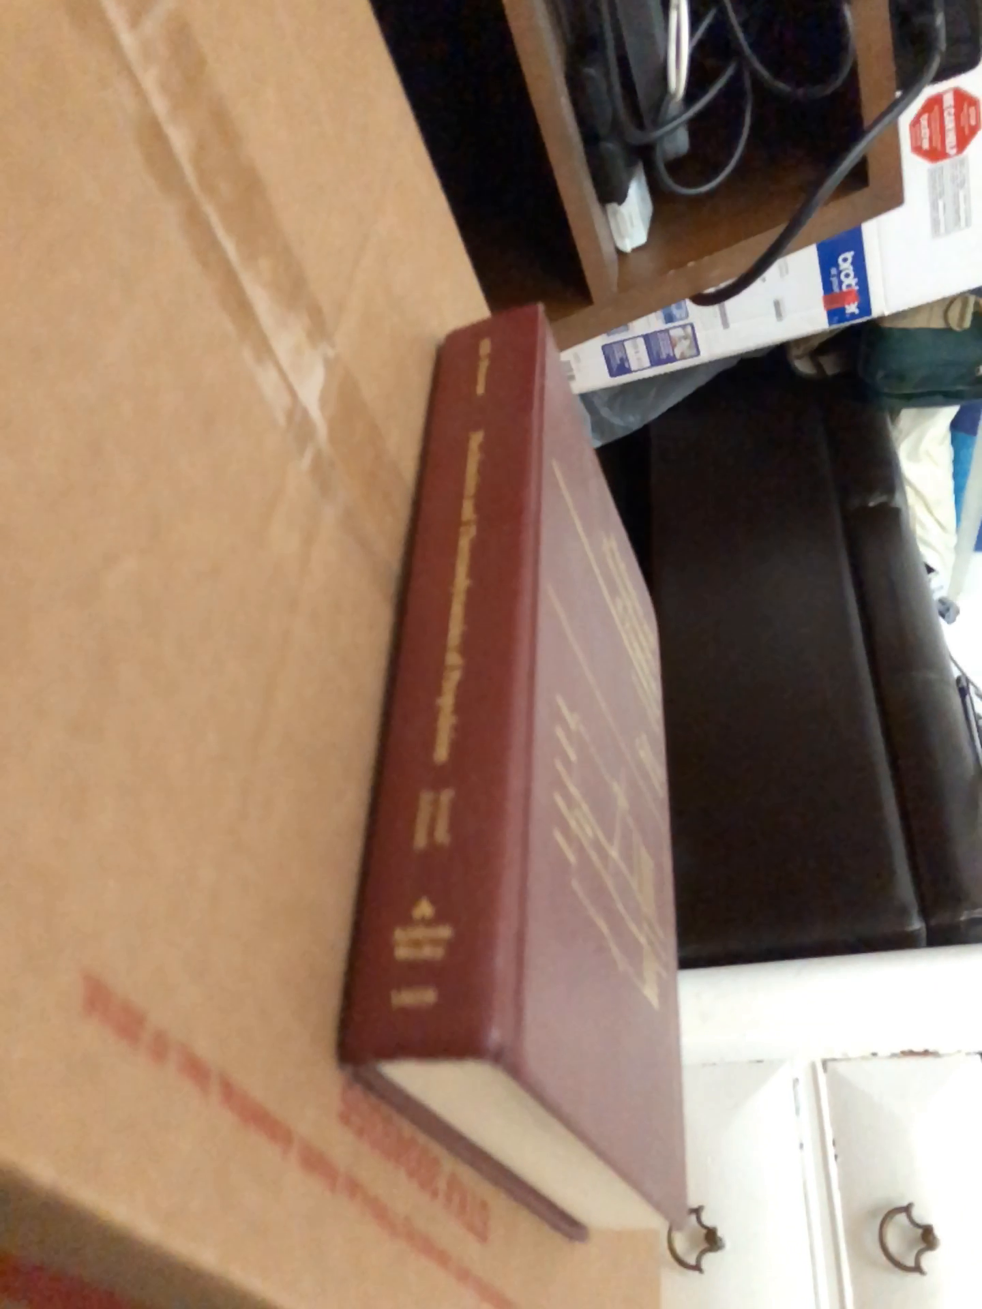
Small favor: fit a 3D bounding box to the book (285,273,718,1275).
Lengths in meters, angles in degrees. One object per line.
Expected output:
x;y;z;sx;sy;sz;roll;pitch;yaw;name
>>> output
0.022;0.036;0.331;0.190;0.040;0.241;60;26;-46;book
